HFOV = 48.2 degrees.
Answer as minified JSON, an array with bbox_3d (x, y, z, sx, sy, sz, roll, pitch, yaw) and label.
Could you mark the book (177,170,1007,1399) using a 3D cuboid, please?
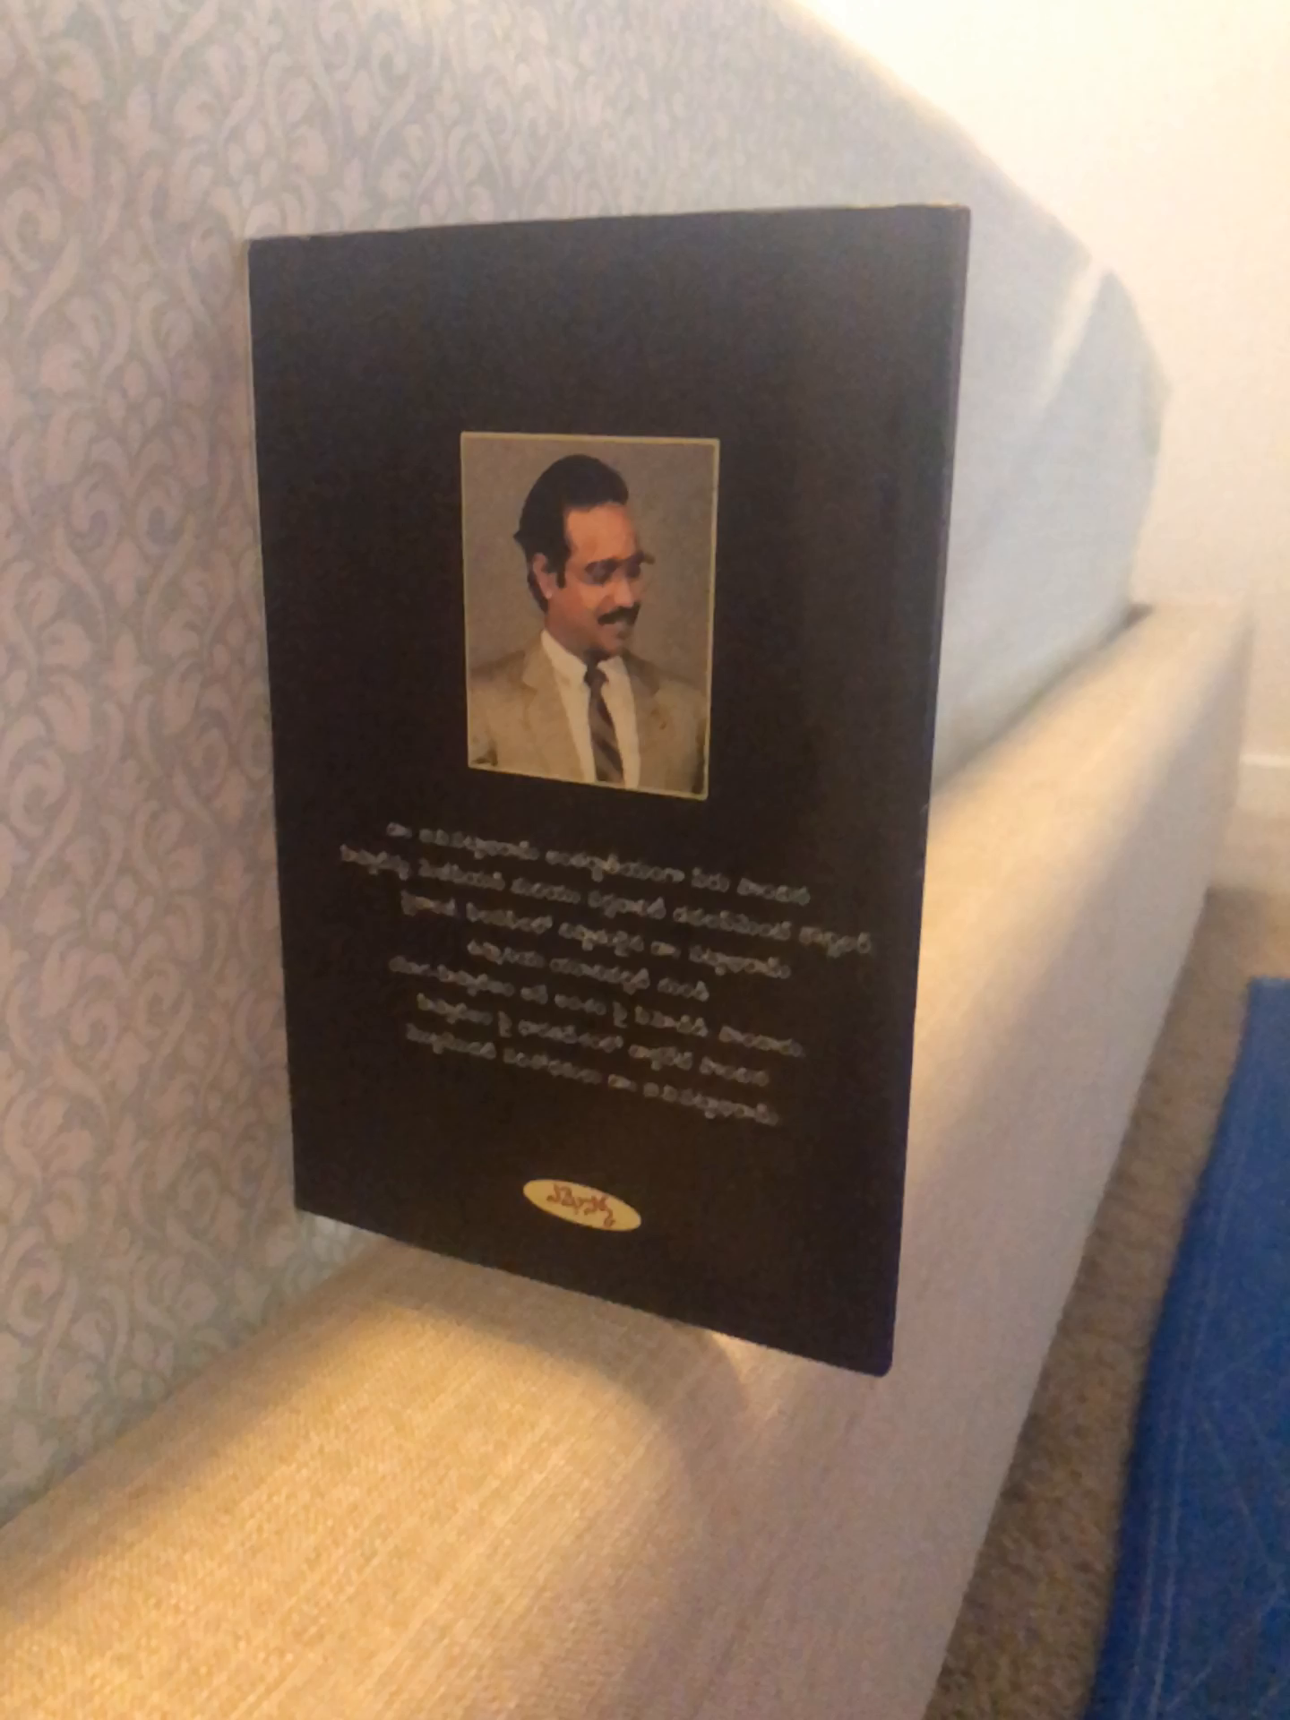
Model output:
[{"bbox_3d":[-0.012,-0.008,0.230,0.127,0.175,0.011,6,16,23],"label":"book"}]
